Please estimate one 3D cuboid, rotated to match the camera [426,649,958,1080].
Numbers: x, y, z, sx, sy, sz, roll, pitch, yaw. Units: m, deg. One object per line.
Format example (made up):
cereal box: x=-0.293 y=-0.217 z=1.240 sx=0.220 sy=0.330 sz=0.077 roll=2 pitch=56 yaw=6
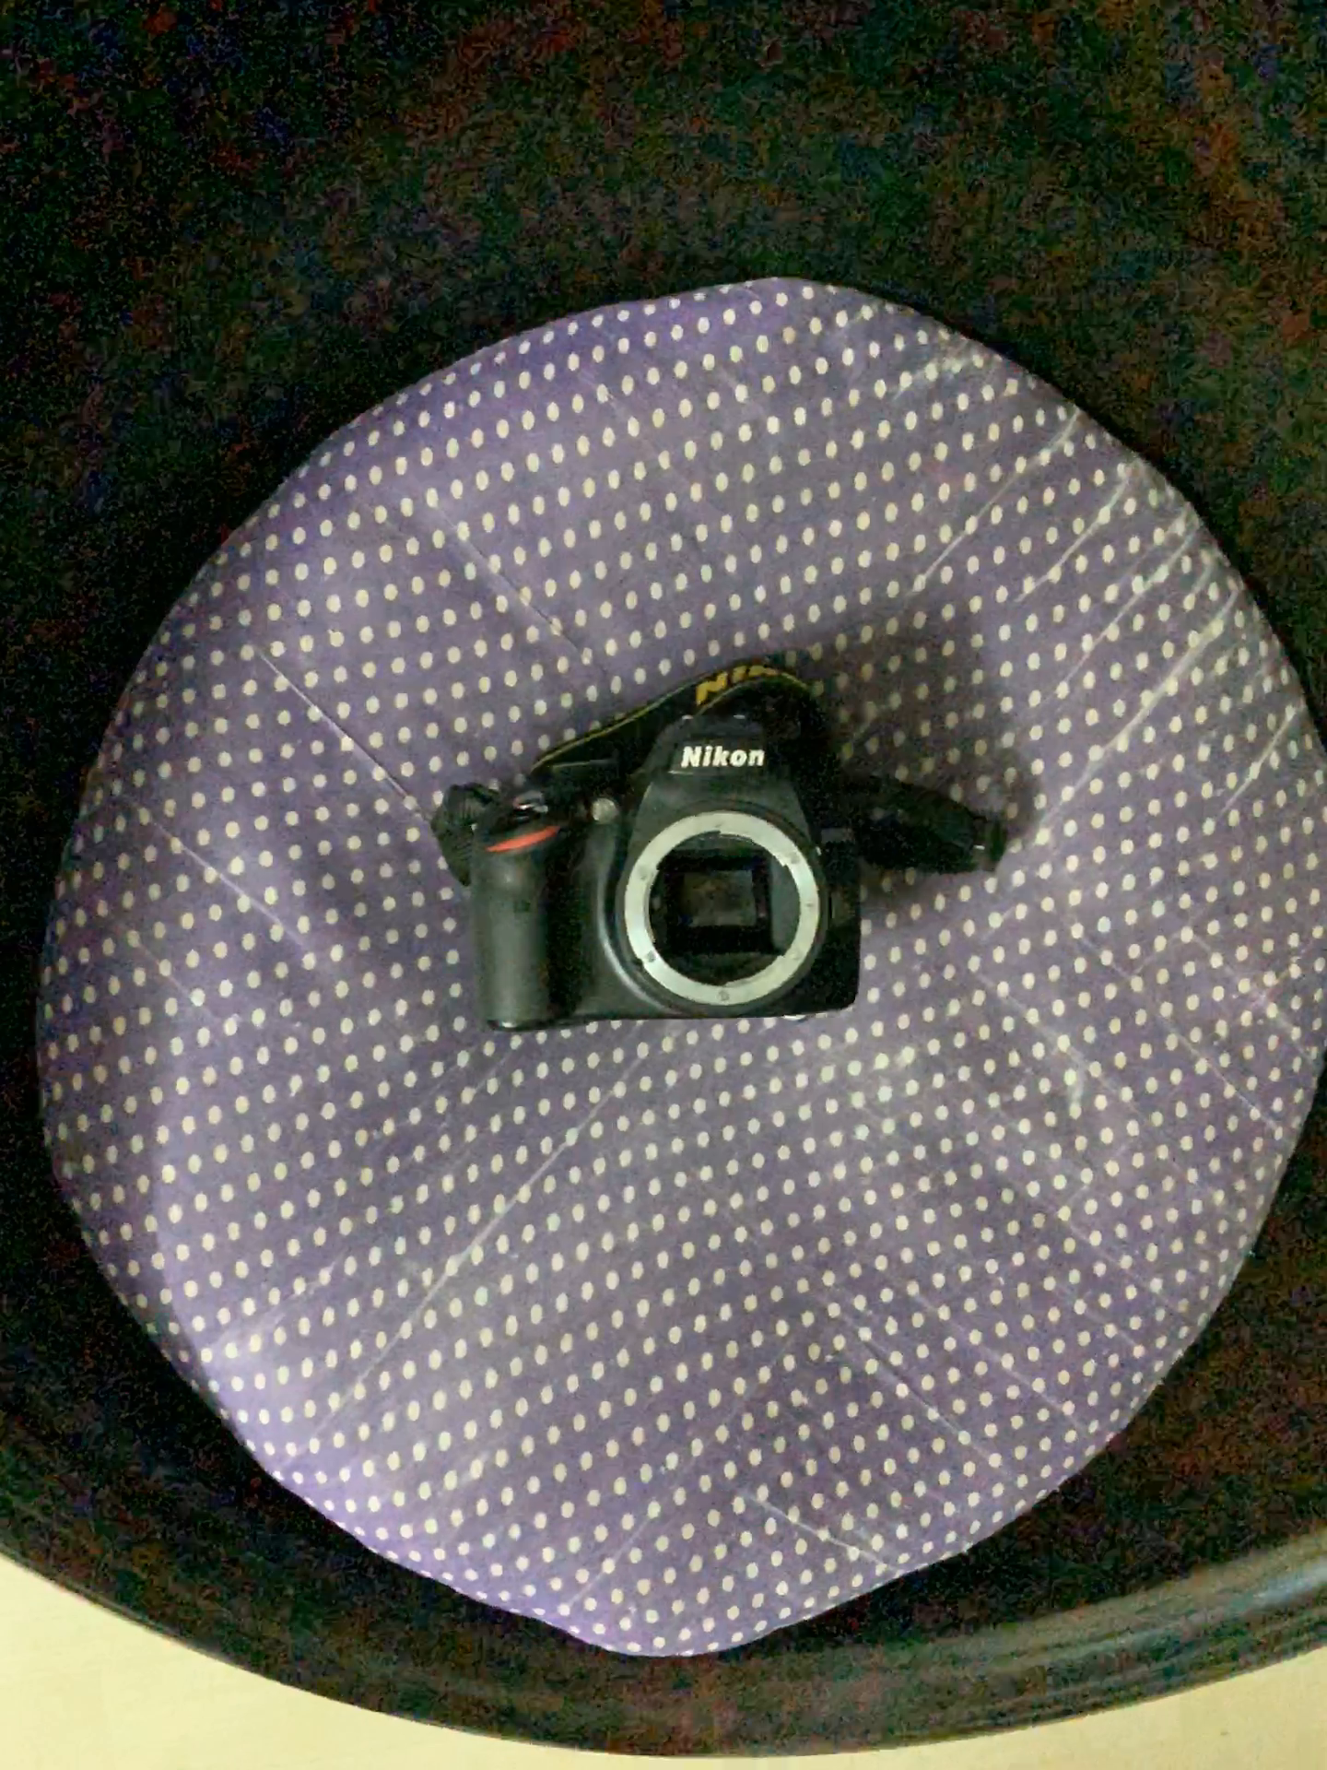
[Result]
camera: x=0.008 y=-0.009 z=0.410 sx=0.140 sy=0.080 sz=0.110 roll=-3 pitch=95 yaw=-2
